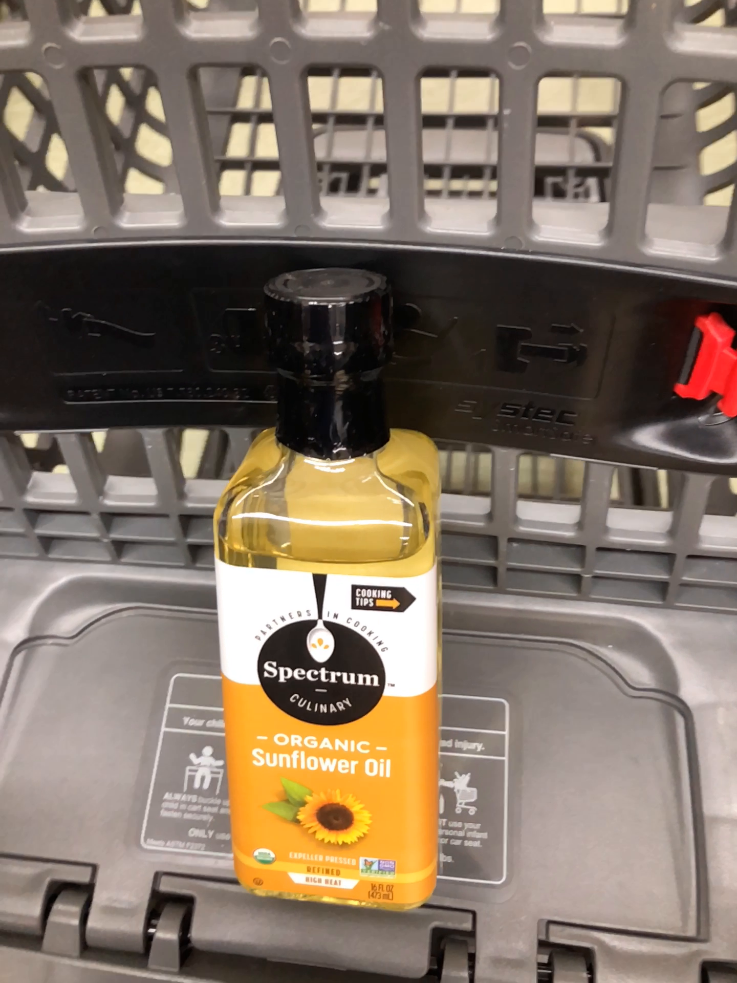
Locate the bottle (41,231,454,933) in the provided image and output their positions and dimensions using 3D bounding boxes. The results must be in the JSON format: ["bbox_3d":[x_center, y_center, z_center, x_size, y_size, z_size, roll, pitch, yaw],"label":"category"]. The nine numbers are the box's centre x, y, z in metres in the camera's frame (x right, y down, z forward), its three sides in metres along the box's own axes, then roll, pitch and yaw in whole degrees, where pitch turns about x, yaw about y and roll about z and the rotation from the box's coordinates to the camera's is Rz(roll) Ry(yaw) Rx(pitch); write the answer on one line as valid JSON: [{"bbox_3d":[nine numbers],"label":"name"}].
[{"bbox_3d":[-0.019,0.035,0.241,0.080,0.200,0.070,2,32,6],"label":"bottle"}]
